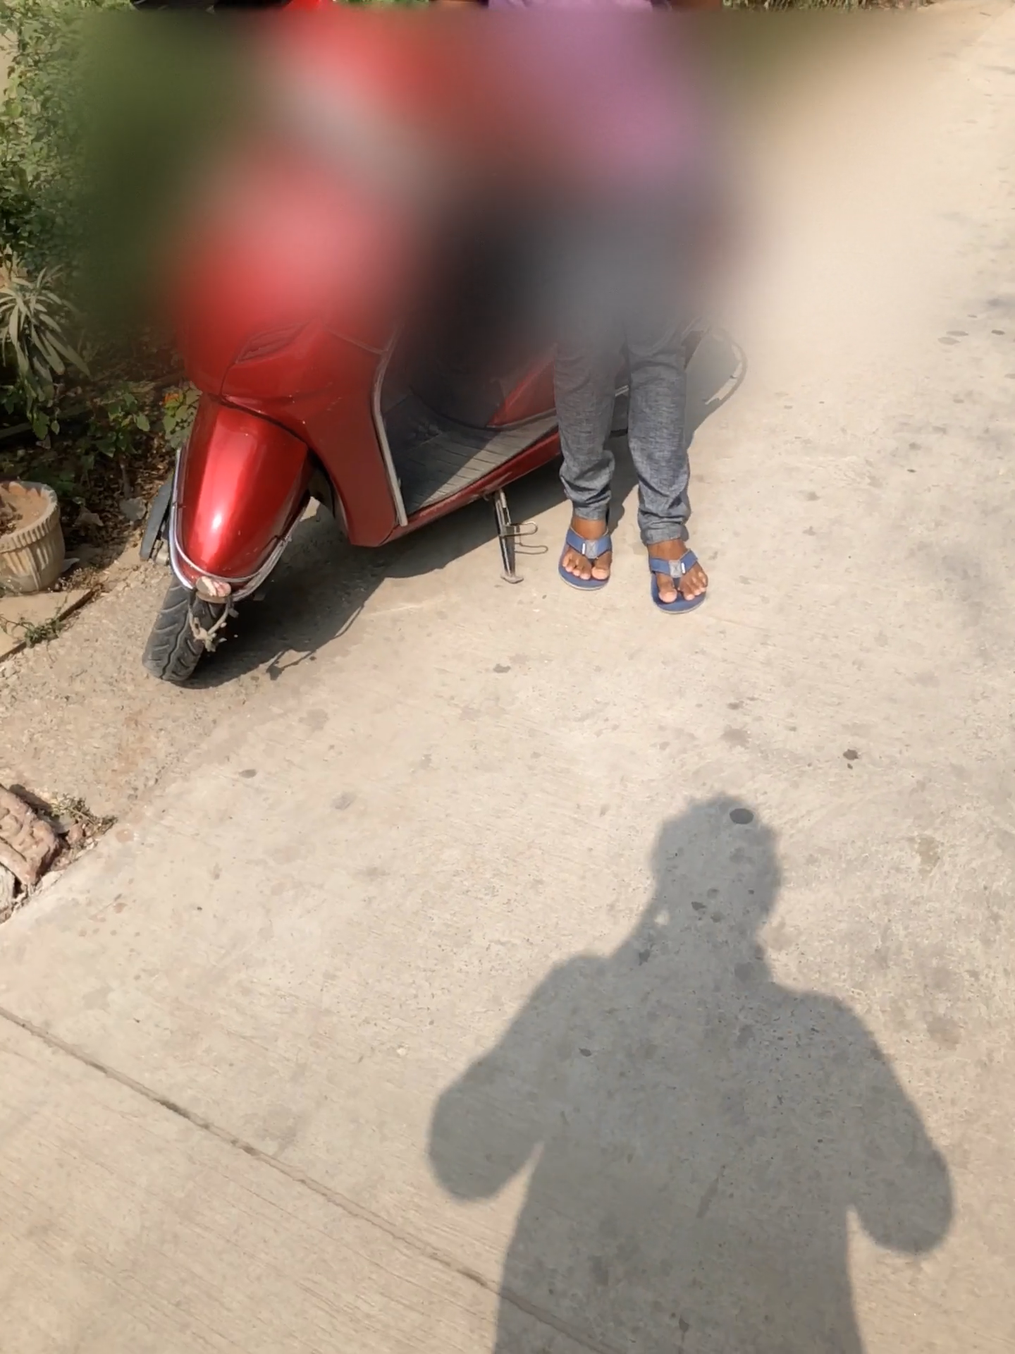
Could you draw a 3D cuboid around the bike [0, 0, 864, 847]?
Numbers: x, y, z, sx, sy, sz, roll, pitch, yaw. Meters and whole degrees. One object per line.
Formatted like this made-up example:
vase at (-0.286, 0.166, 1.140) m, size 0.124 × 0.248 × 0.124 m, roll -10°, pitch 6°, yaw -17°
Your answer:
bike at (-0.053, -0.691, 2.123) m, size 0.622 × 1.158 × 1.591 m, roll 25°, pitch 48°, yaw 31°
